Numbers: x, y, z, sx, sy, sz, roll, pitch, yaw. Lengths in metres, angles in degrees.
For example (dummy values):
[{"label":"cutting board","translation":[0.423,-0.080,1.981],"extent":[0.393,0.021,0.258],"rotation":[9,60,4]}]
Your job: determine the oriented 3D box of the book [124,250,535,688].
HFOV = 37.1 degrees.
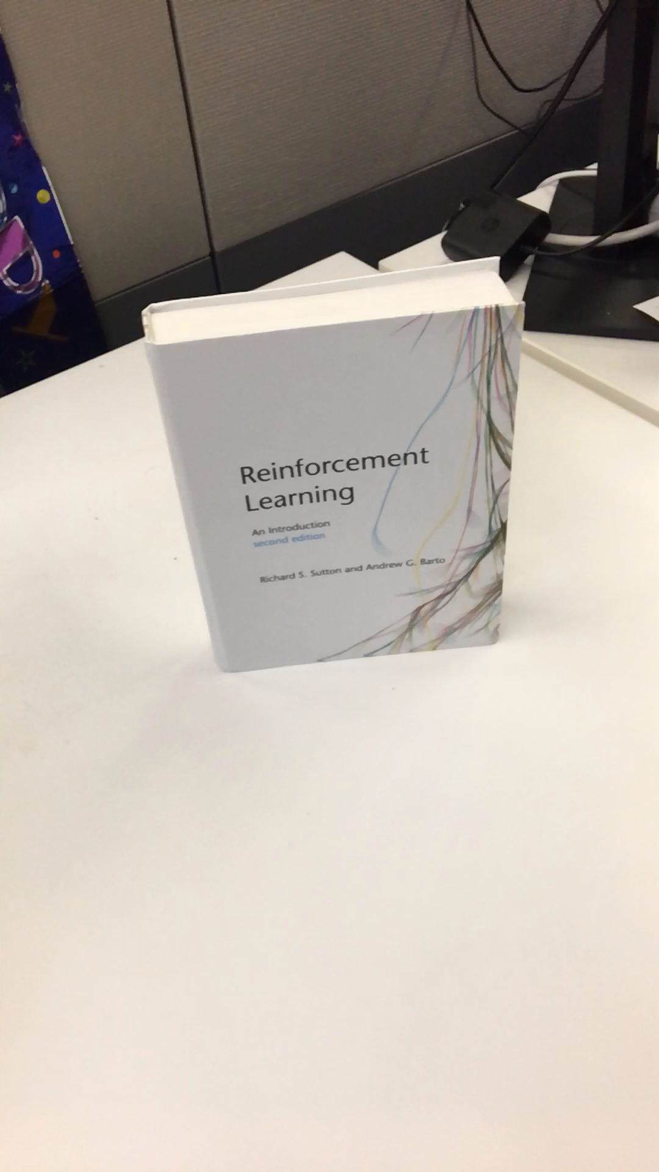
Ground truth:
[{"label":"book","translation":[0.006,-0.049,0.525],"extent":[0.180,0.230,0.050],"rotation":[-8,46,-2]}]
